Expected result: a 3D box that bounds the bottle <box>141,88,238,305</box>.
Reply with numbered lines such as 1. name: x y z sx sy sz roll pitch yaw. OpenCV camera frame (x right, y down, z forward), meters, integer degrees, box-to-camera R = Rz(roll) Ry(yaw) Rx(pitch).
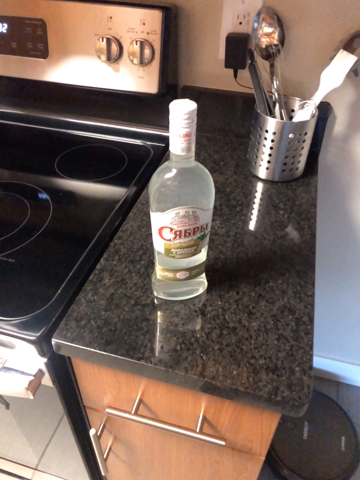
1. bottle: 0.005 -0.036 0.477 0.090 0.269 0.060 -2 40 -4
